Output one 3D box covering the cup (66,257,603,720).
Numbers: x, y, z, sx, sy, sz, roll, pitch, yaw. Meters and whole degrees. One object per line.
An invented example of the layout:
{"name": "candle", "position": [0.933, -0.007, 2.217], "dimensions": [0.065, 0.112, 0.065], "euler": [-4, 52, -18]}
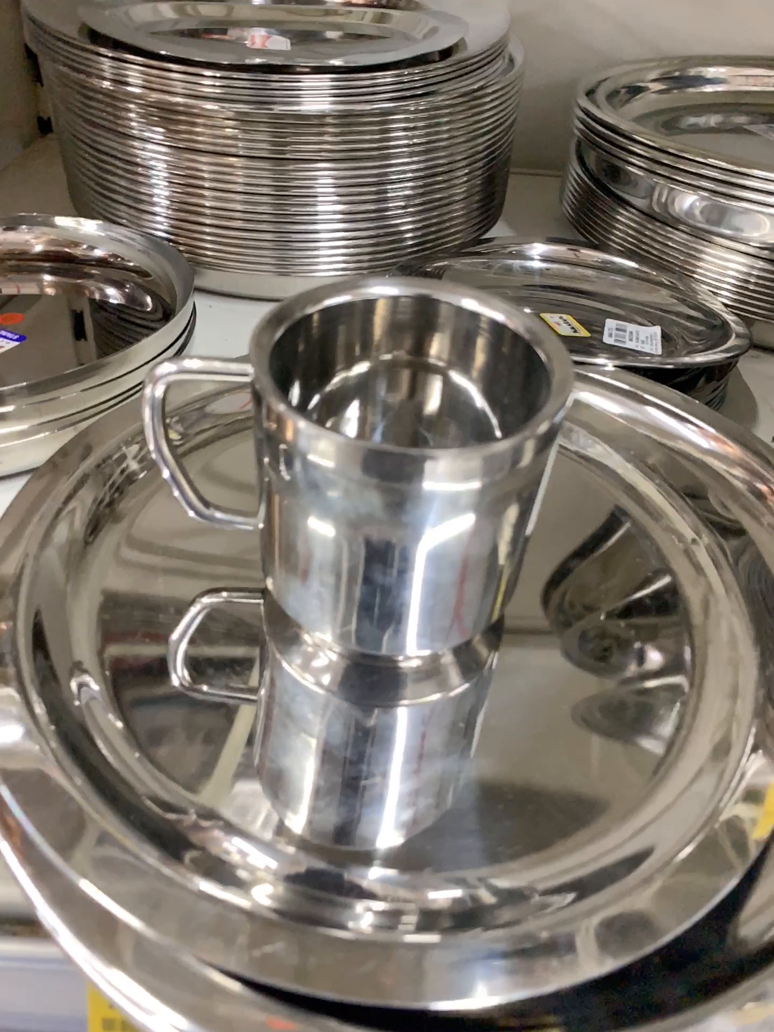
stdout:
{"name": "cup", "position": [-0.008, -0.008, 0.182], "dimensions": [0.090, 0.070, 0.070], "euler": [5, 42, 1]}
